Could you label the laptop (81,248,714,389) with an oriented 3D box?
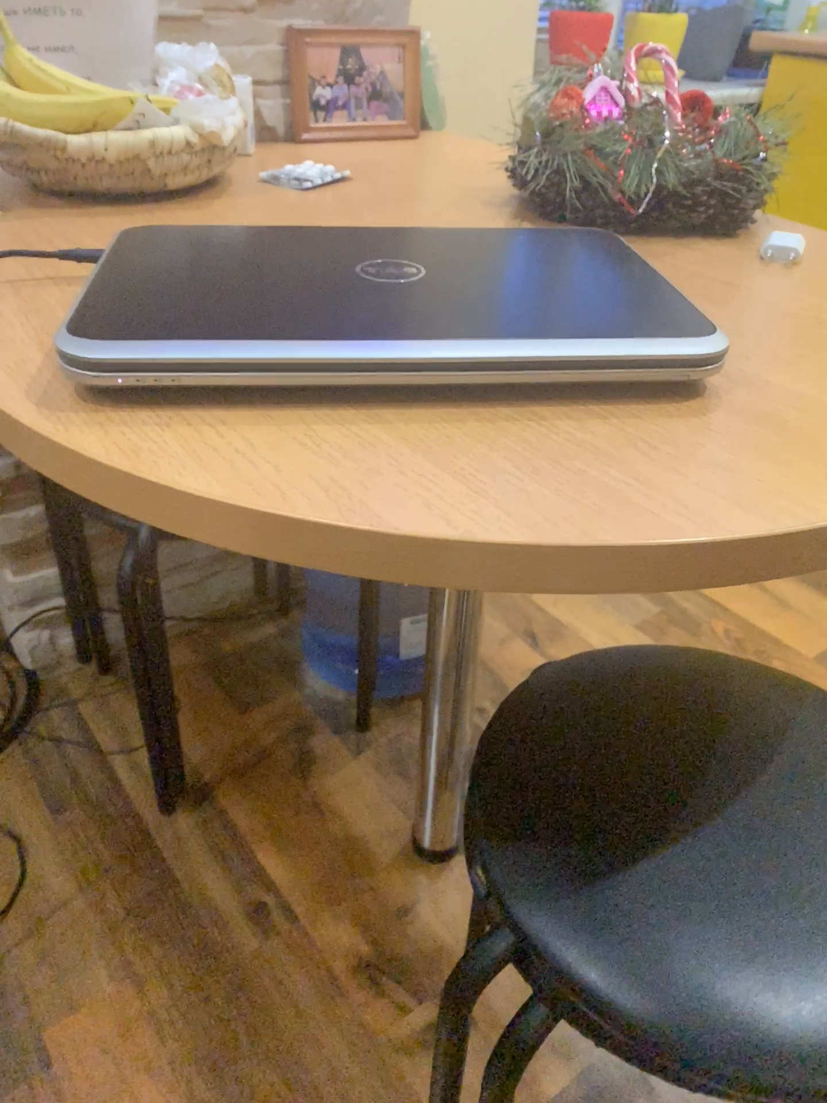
[{"bbox_3d":[-0.014,-0.161,0.559,0.348,0.004,0.226,-2,37,-5],"label":"laptop"}]
